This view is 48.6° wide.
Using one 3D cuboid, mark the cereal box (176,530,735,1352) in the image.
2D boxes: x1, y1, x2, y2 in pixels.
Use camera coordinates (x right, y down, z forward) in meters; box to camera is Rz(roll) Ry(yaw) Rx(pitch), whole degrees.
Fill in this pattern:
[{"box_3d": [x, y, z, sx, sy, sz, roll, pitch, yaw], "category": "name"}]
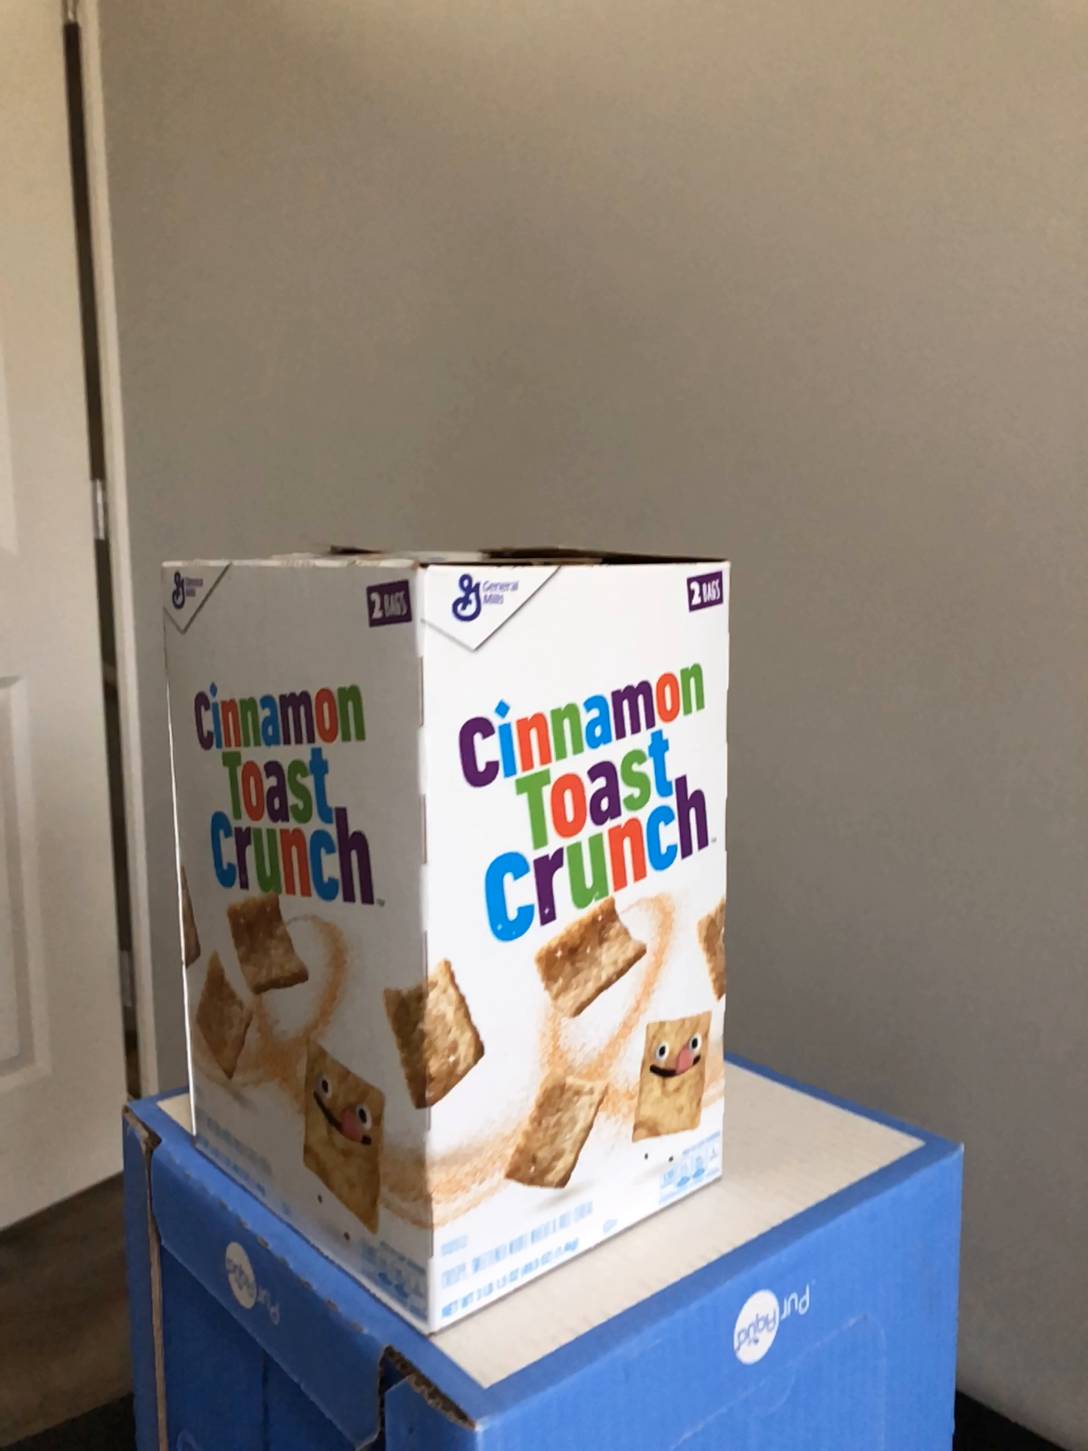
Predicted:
[{"box_3d": [-0.044, 0.068, 0.571, 0.170, 0.310, 0.200, -7, 9, -41], "category": "cereal box"}]
